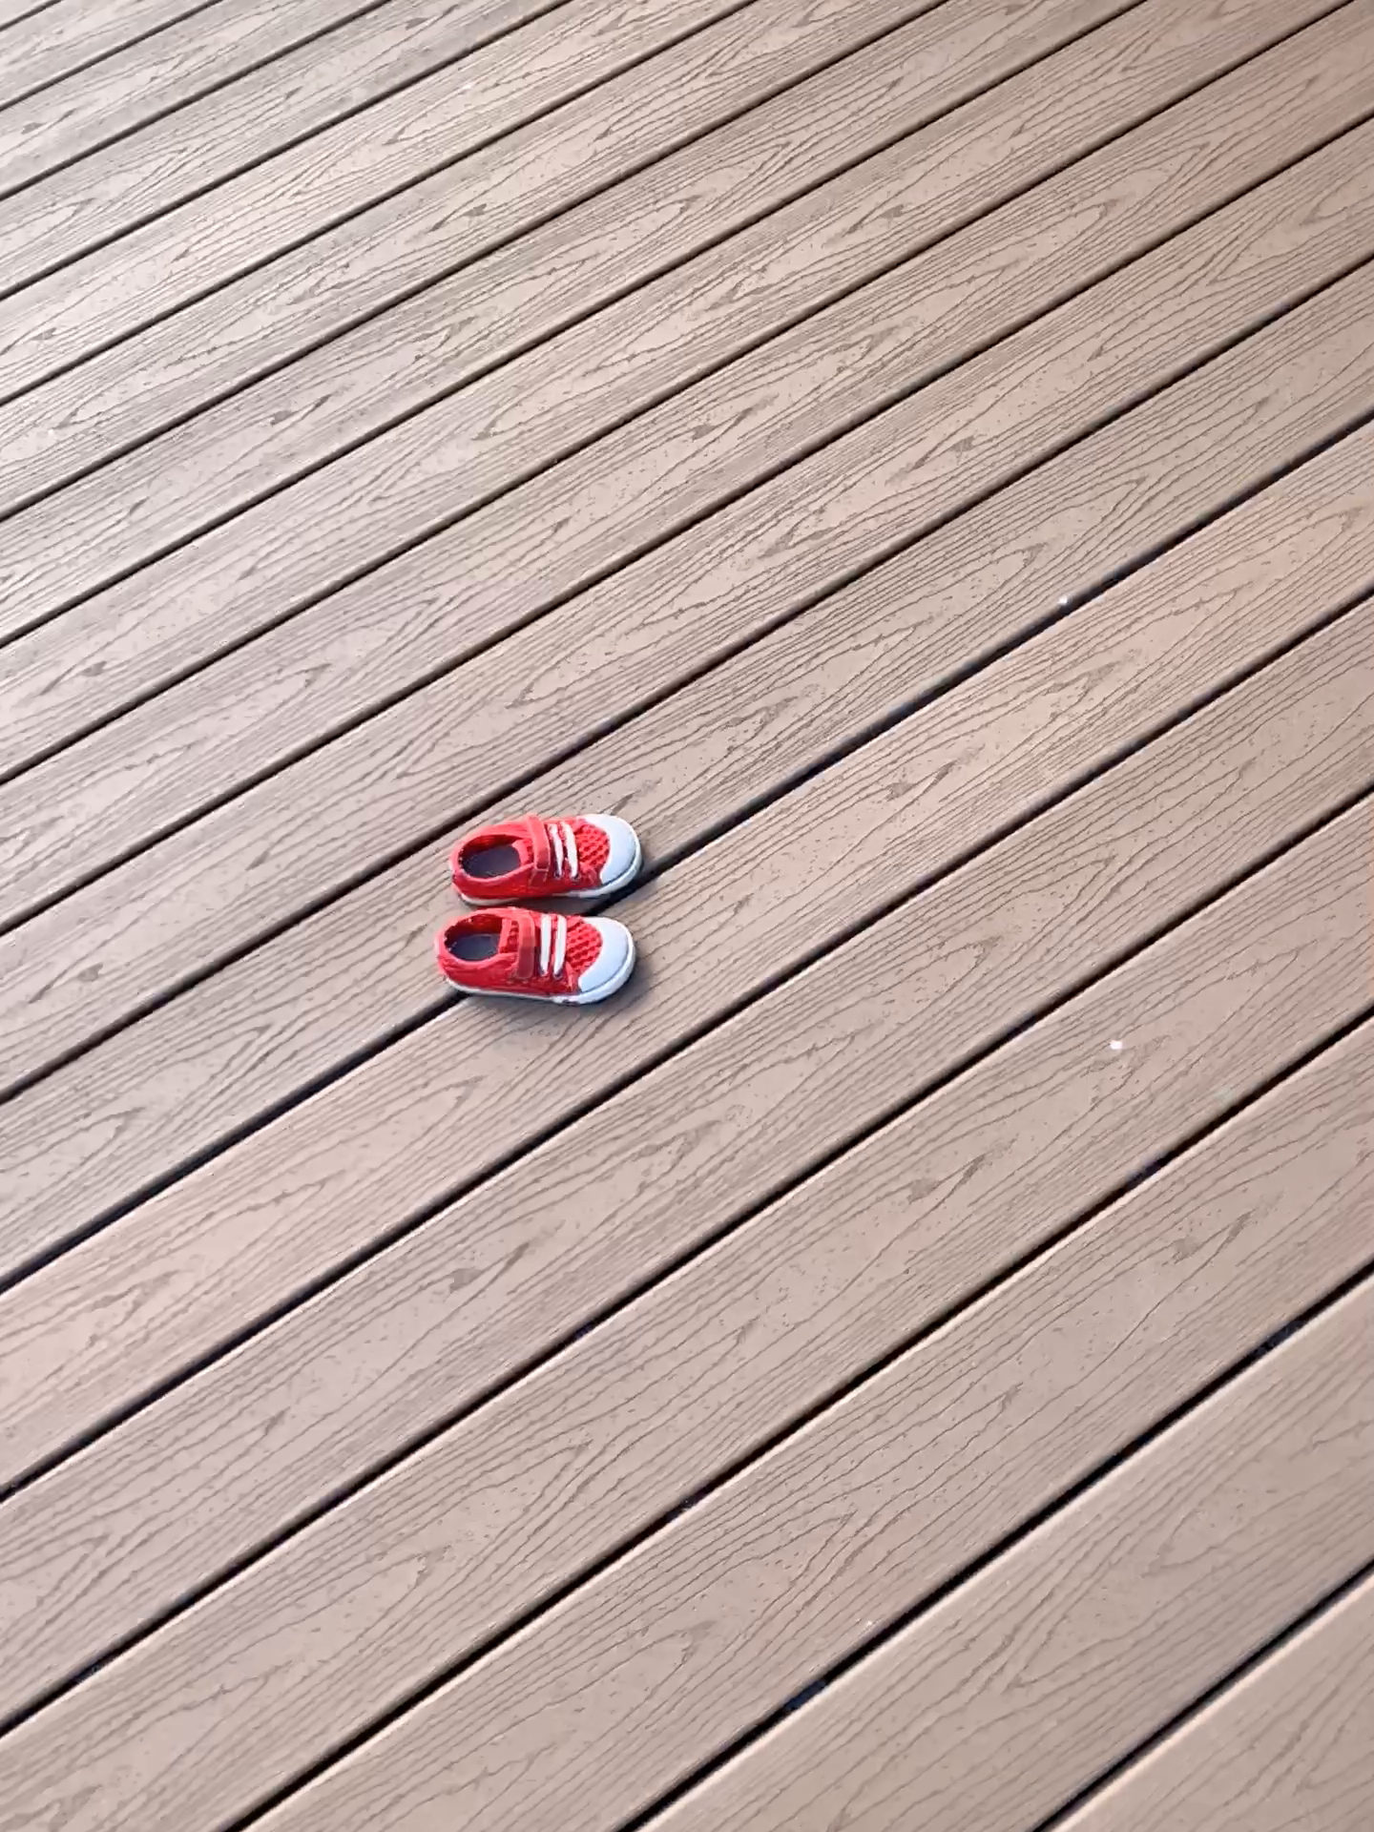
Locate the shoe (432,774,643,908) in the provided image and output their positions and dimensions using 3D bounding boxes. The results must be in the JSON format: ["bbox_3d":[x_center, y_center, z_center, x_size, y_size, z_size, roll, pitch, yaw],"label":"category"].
[{"bbox_3d":[-0.134,-0.067,1.259,0.180,0.060,0.090,-4,67,4],"label":"shoe"}]

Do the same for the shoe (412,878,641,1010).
[{"bbox_3d":[-0.137,0.025,1.216,0.180,0.060,0.090,3,67,7],"label":"shoe"}]
